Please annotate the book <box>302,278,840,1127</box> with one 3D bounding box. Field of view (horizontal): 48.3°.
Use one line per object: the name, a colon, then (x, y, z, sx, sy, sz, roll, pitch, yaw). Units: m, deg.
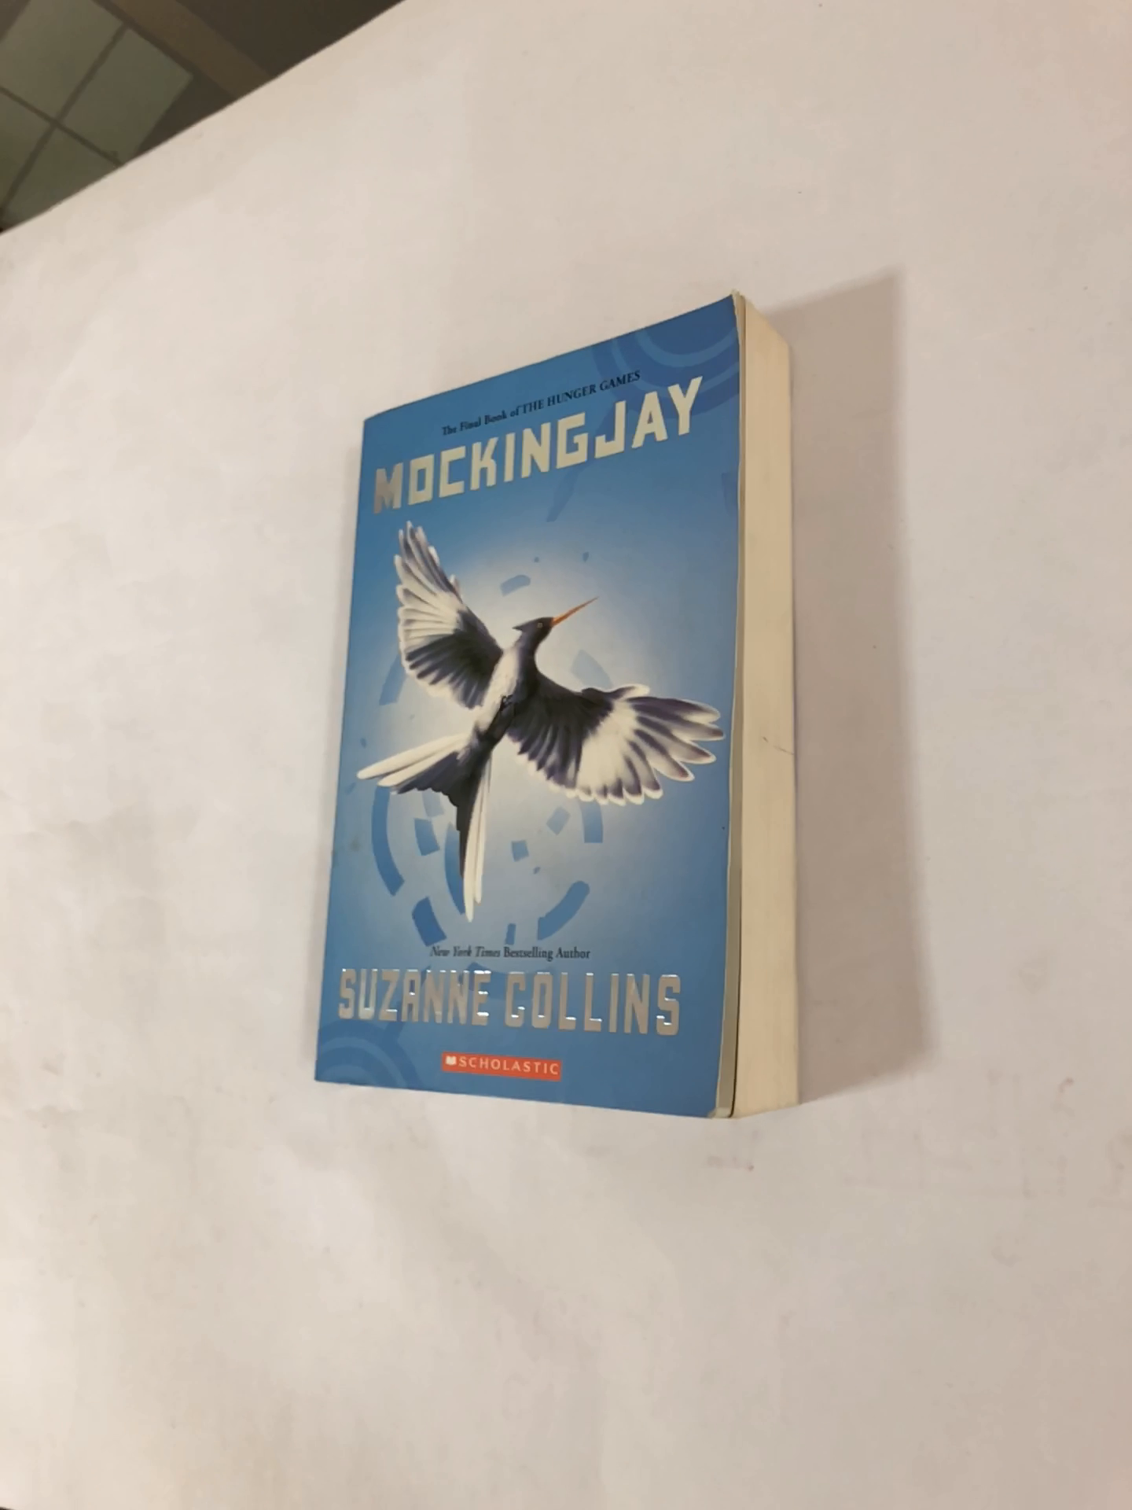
book: (-0.002, -0.009, 0.326, 0.139, 0.029, 0.190, -6, 76, 34)
